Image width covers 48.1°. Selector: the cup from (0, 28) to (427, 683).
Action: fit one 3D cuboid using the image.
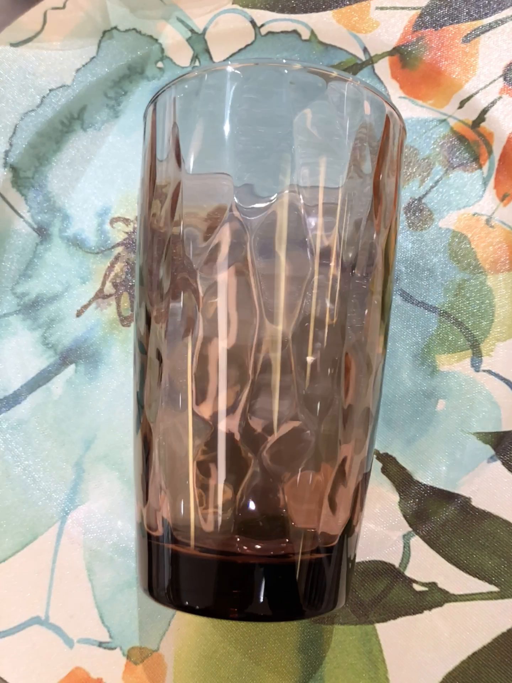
[{"bbox_3d":[-0.003,0.004,0.167,0.090,0.080,0.150,2,73,9],"label":"cup"}]
